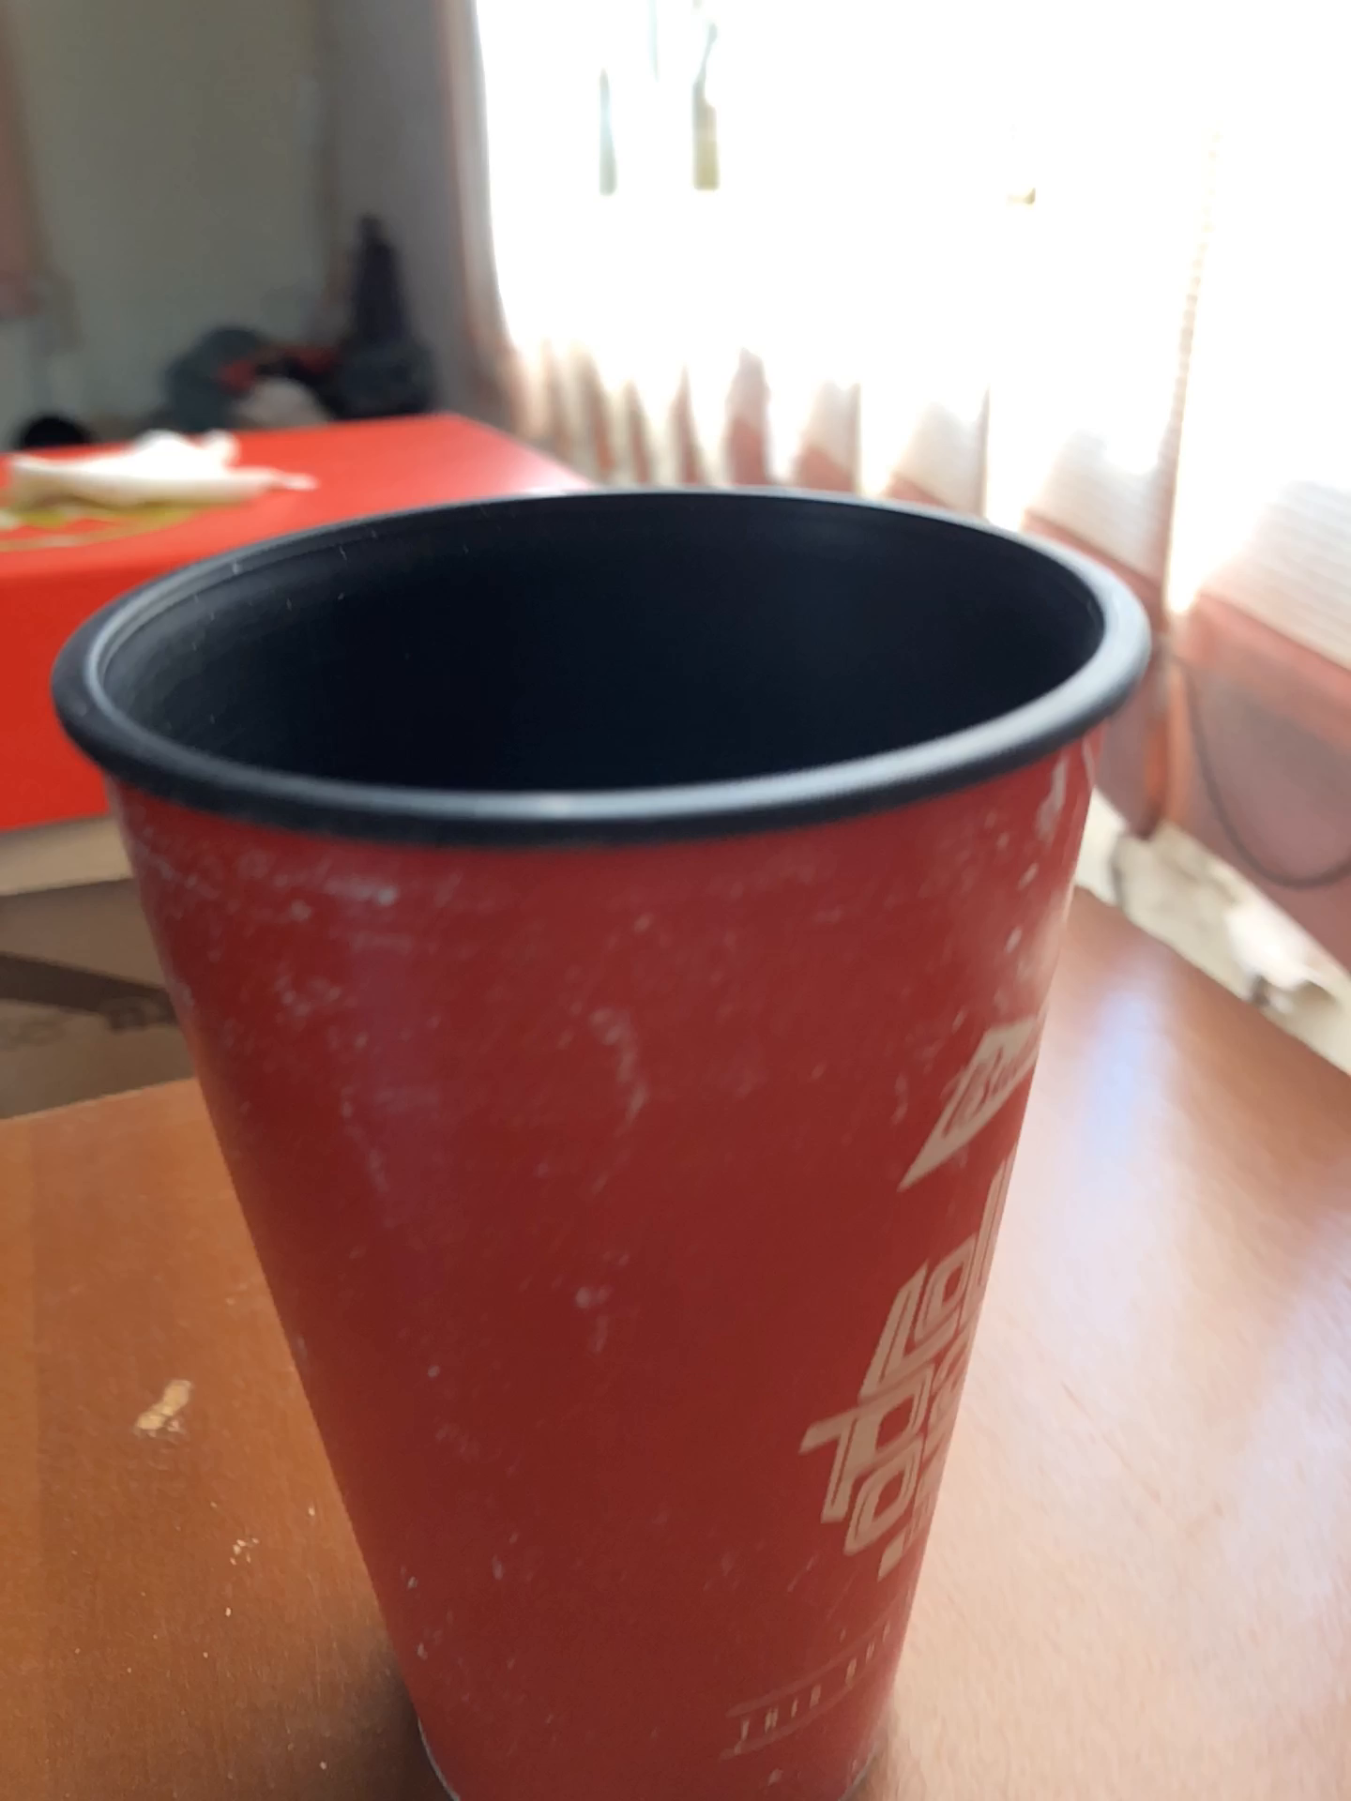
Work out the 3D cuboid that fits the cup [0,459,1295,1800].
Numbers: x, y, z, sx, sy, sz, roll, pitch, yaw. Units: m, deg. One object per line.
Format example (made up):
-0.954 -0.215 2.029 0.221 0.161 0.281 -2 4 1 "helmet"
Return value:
-0.001 0.034 0.167 0.090 0.139 0.101 15 29 31 "cup"
